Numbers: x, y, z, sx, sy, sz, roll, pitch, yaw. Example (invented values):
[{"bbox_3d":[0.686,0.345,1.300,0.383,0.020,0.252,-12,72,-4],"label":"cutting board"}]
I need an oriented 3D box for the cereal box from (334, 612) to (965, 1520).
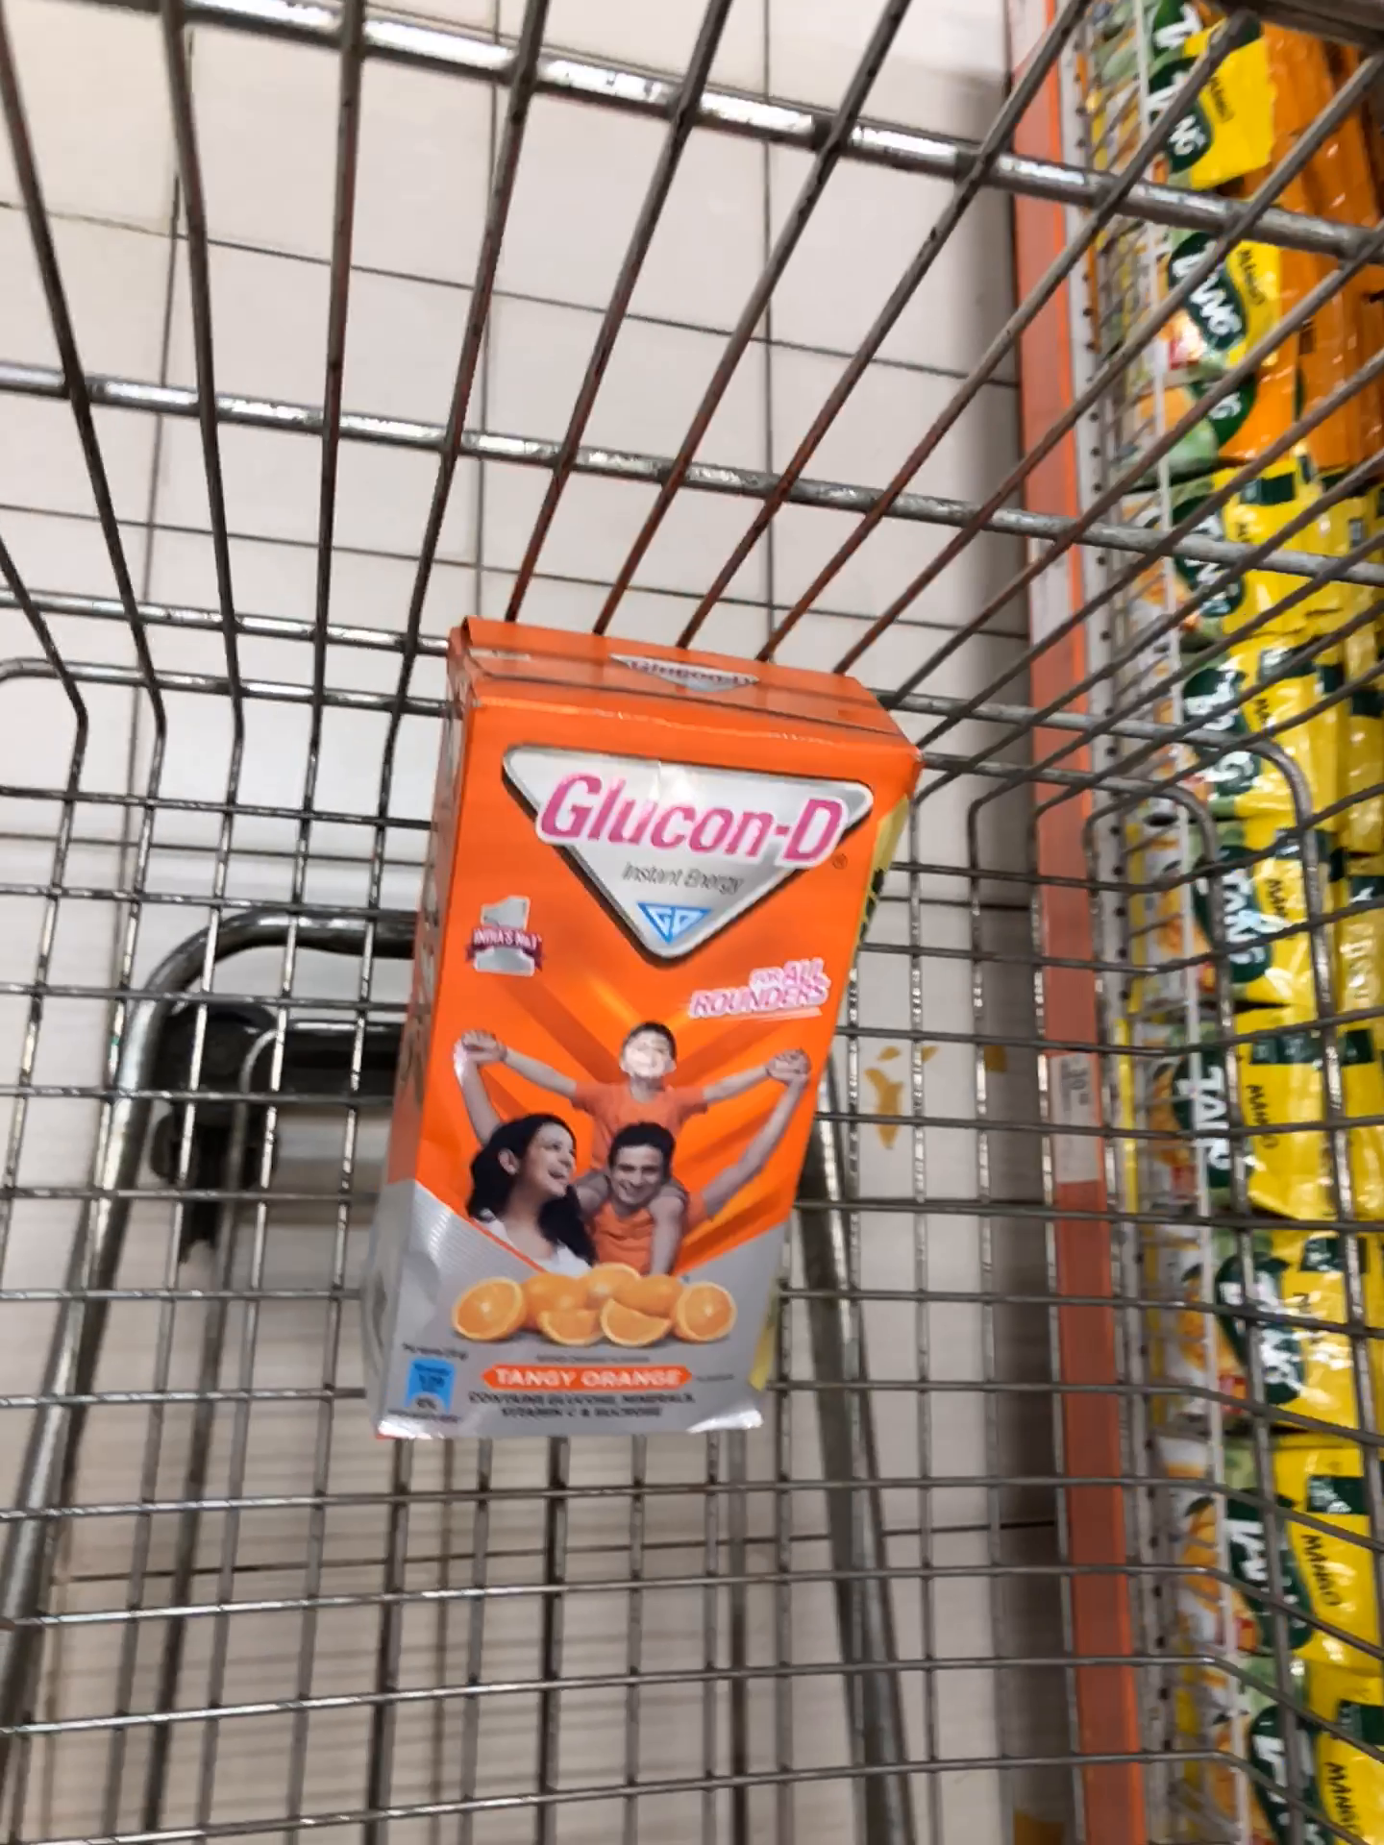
[{"bbox_3d":[-0.024,0.037,0.410,0.120,0.100,0.210,5,108,-15],"label":"cereal box"}]
